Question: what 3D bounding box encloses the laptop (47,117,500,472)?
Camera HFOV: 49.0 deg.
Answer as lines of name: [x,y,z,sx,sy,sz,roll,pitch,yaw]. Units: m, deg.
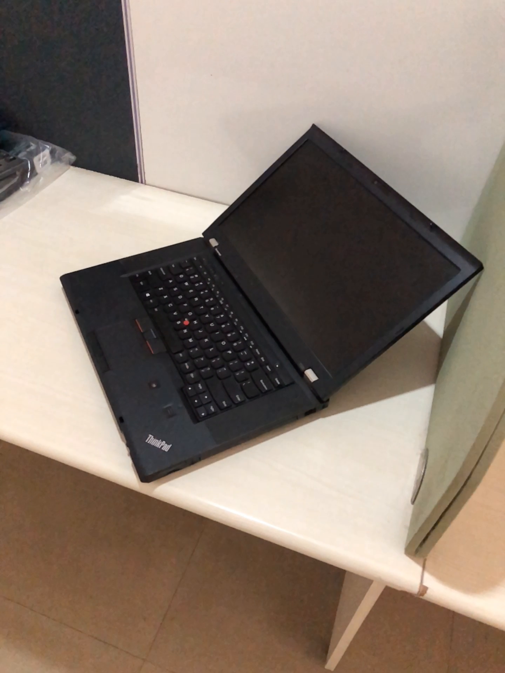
laptop: [-0.001,-0.090,0.703,0.411,0.142,0.355,-20,50,-16]
